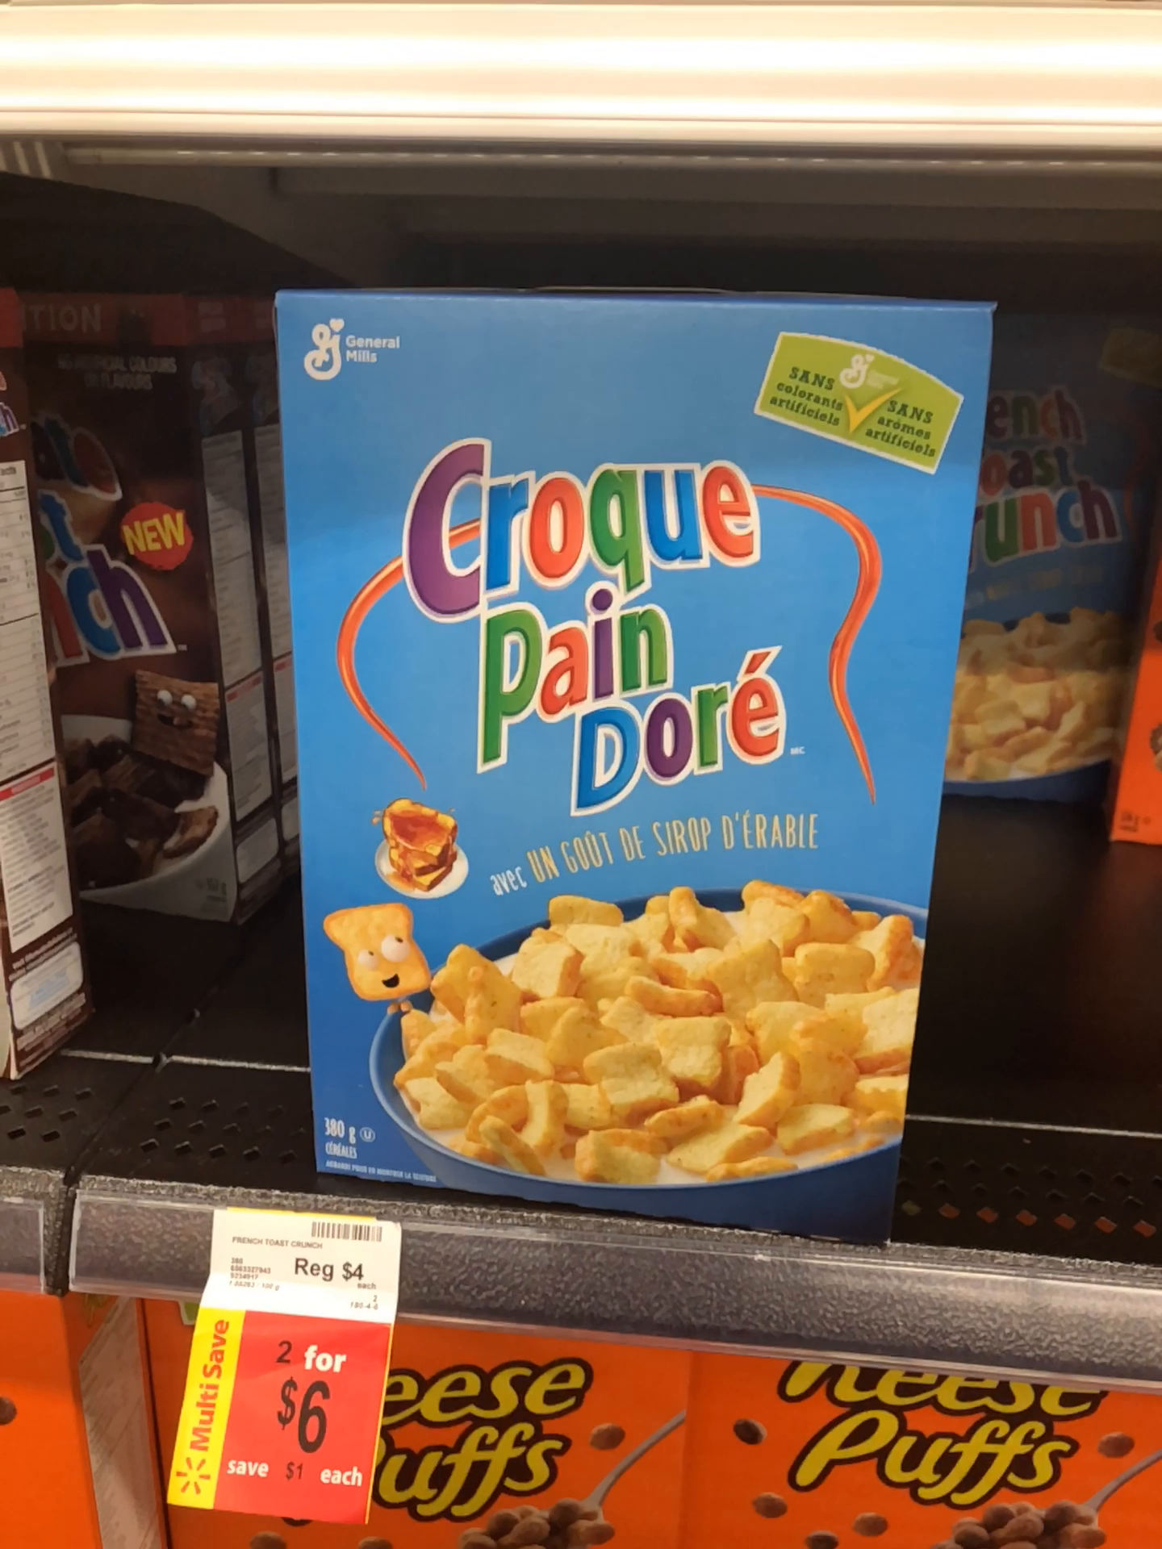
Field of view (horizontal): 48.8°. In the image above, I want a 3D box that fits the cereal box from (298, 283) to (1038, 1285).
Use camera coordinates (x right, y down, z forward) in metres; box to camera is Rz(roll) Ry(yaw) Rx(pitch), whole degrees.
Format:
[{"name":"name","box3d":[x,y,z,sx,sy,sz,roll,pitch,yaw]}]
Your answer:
[{"name":"cereal box","box3d":[0.019,0.004,0.415,0.200,0.299,0.060,5,17,10]}]
